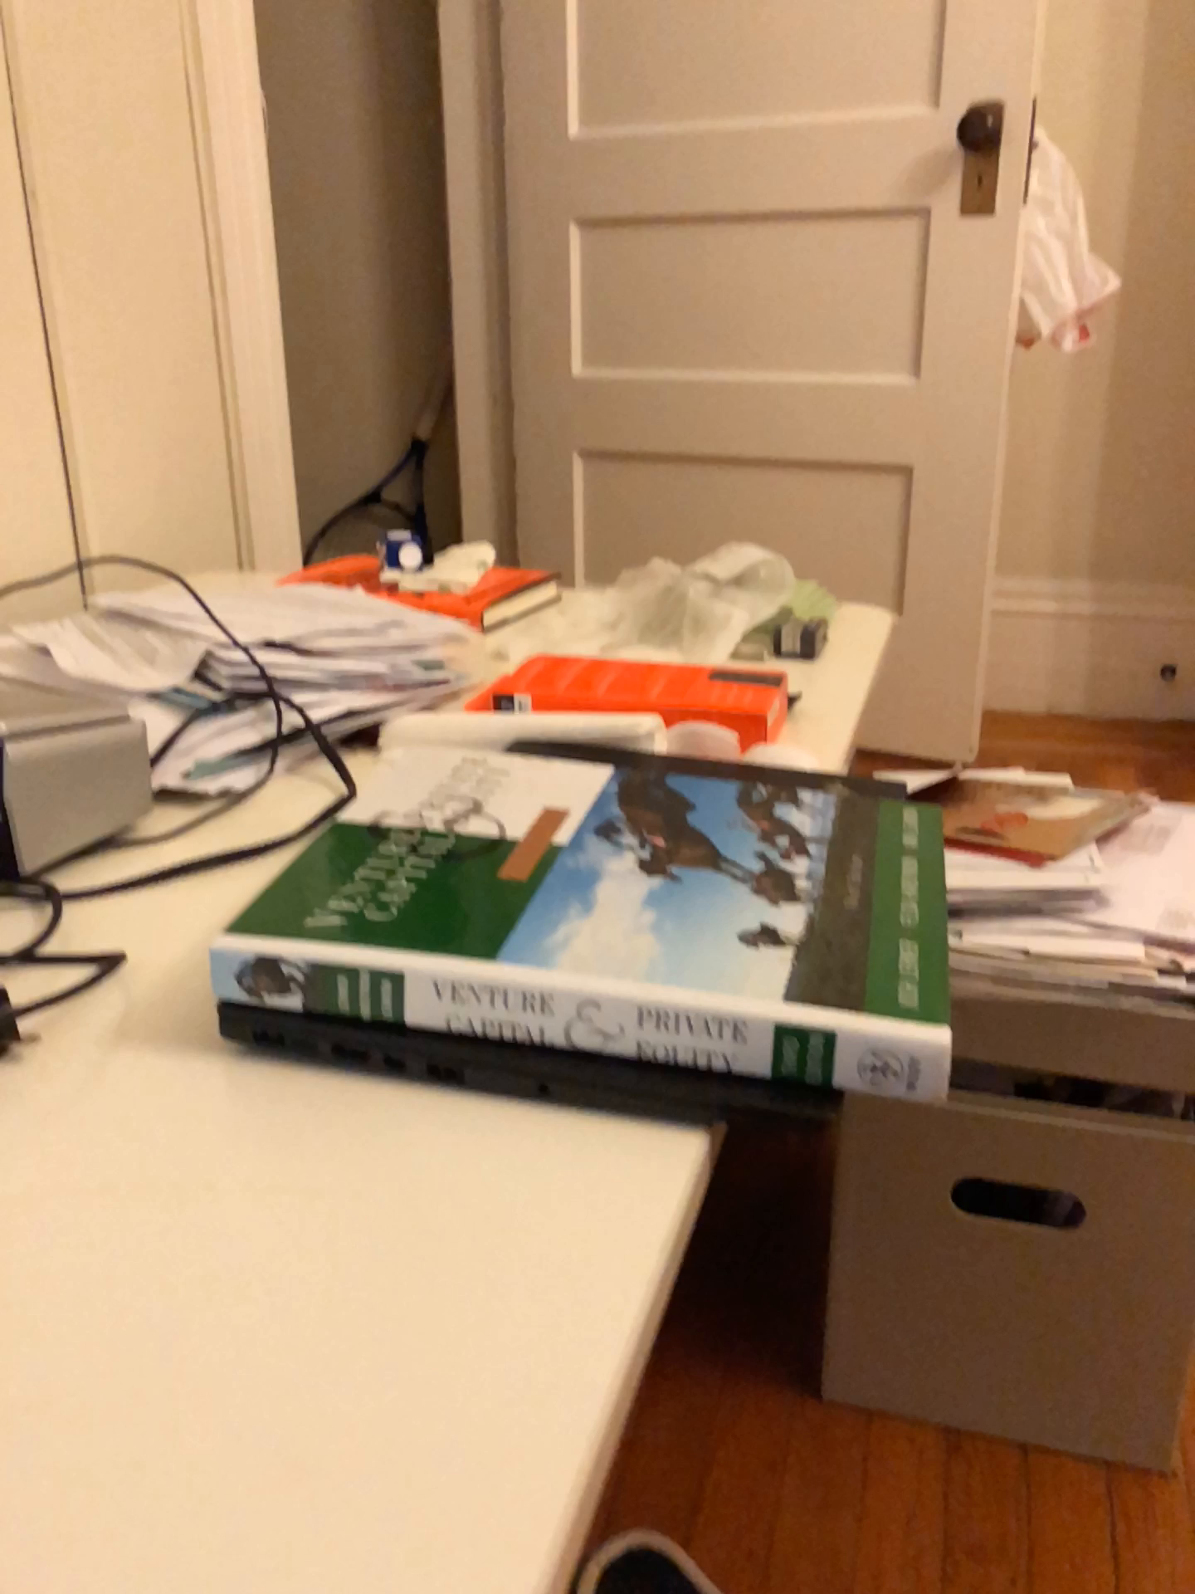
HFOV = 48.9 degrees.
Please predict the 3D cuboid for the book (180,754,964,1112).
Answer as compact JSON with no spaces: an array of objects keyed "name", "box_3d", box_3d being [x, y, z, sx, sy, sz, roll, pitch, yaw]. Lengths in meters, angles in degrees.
[{"name":"book","box_3d":[0.007,0.040,0.547,0.270,0.030,0.221,5,20,11]}]
